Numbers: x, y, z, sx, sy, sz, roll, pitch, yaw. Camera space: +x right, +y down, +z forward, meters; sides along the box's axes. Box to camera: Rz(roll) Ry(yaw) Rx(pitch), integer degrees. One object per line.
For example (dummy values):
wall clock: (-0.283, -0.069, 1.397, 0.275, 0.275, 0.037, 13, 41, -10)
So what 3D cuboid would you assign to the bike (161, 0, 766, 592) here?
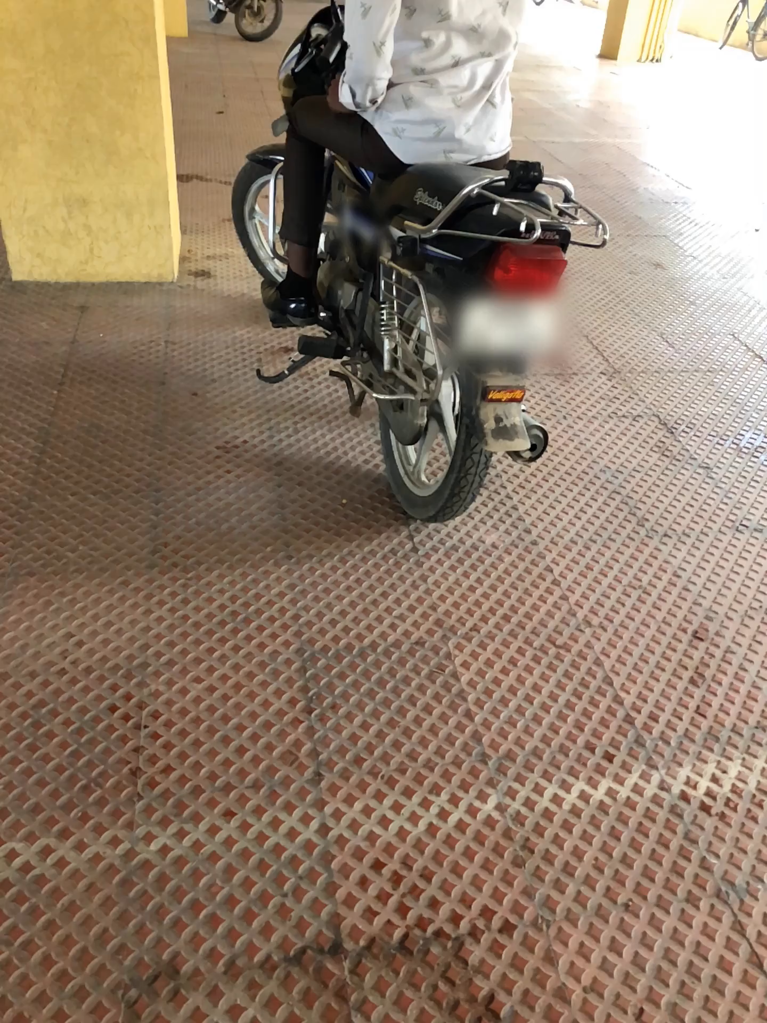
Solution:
bike: (-0.008, -0.845, 2.270, 0.685, 1.107, 1.713, -12, 41, -22)
